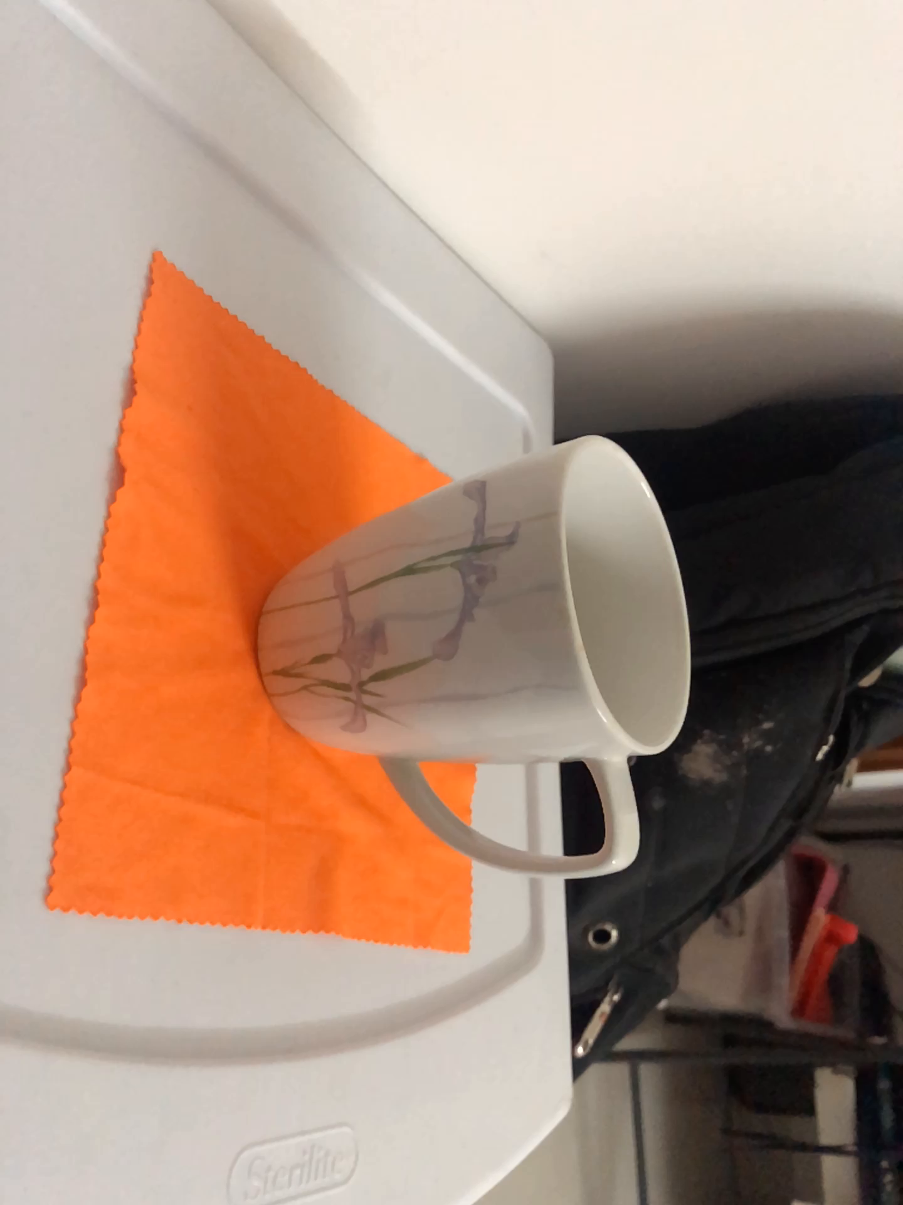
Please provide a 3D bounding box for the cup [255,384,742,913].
[{"bbox_3d":[0.014,0.021,0.292,0.091,0.099,0.120,15,68,-57],"label":"cup"}]
